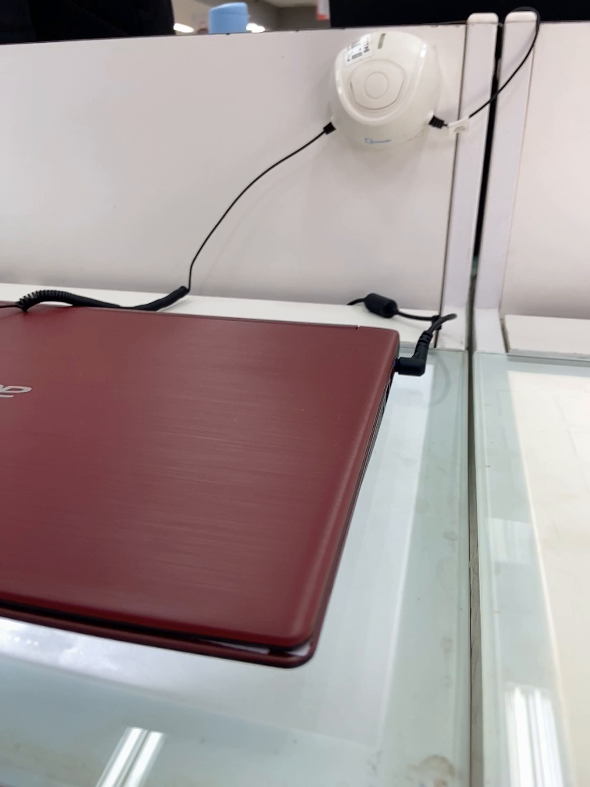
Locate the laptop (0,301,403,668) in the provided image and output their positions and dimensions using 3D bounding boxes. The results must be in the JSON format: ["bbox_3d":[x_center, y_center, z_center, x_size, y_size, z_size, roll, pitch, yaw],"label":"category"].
[{"bbox_3d":[-0.142,0.000,0.315,0.367,0.006,0.263,6,24,13],"label":"laptop"}]
